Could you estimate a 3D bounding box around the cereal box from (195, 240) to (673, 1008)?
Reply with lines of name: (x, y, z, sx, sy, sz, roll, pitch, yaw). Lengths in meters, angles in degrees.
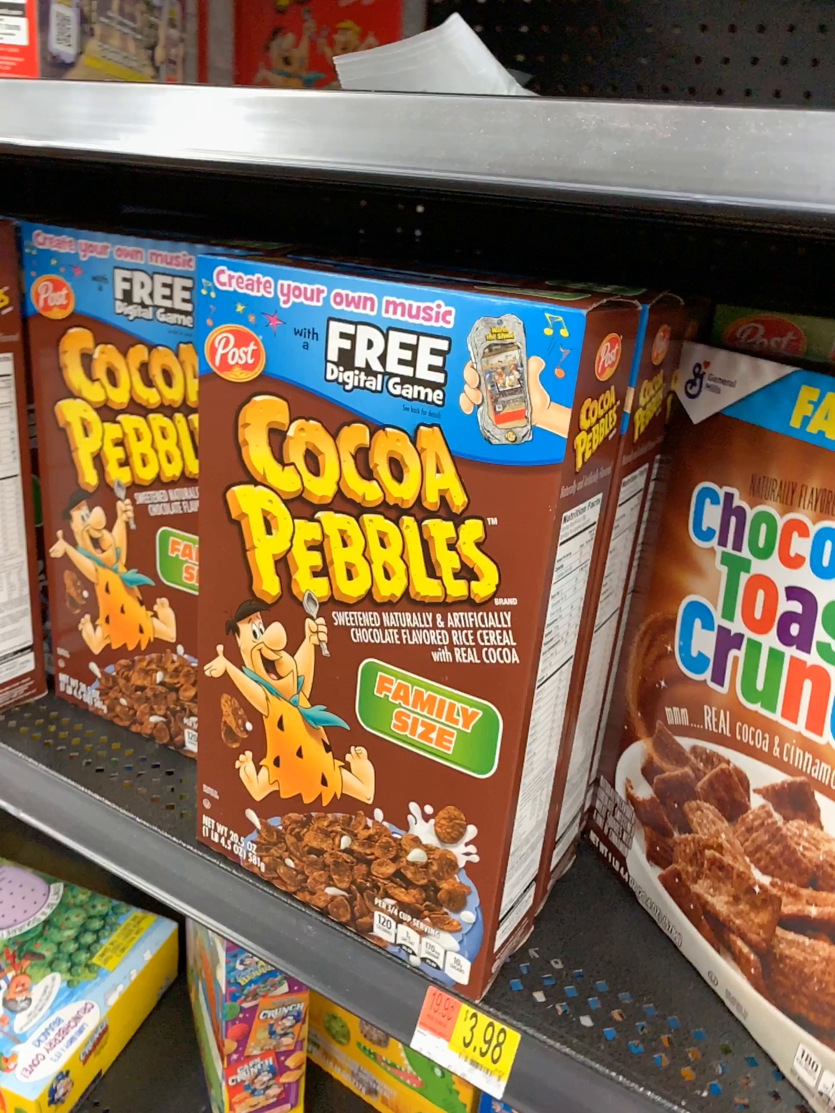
cereal box: (-0.014, 0.029, 0.427, 0.200, 0.329, 0.060, 18, 24, 28)
